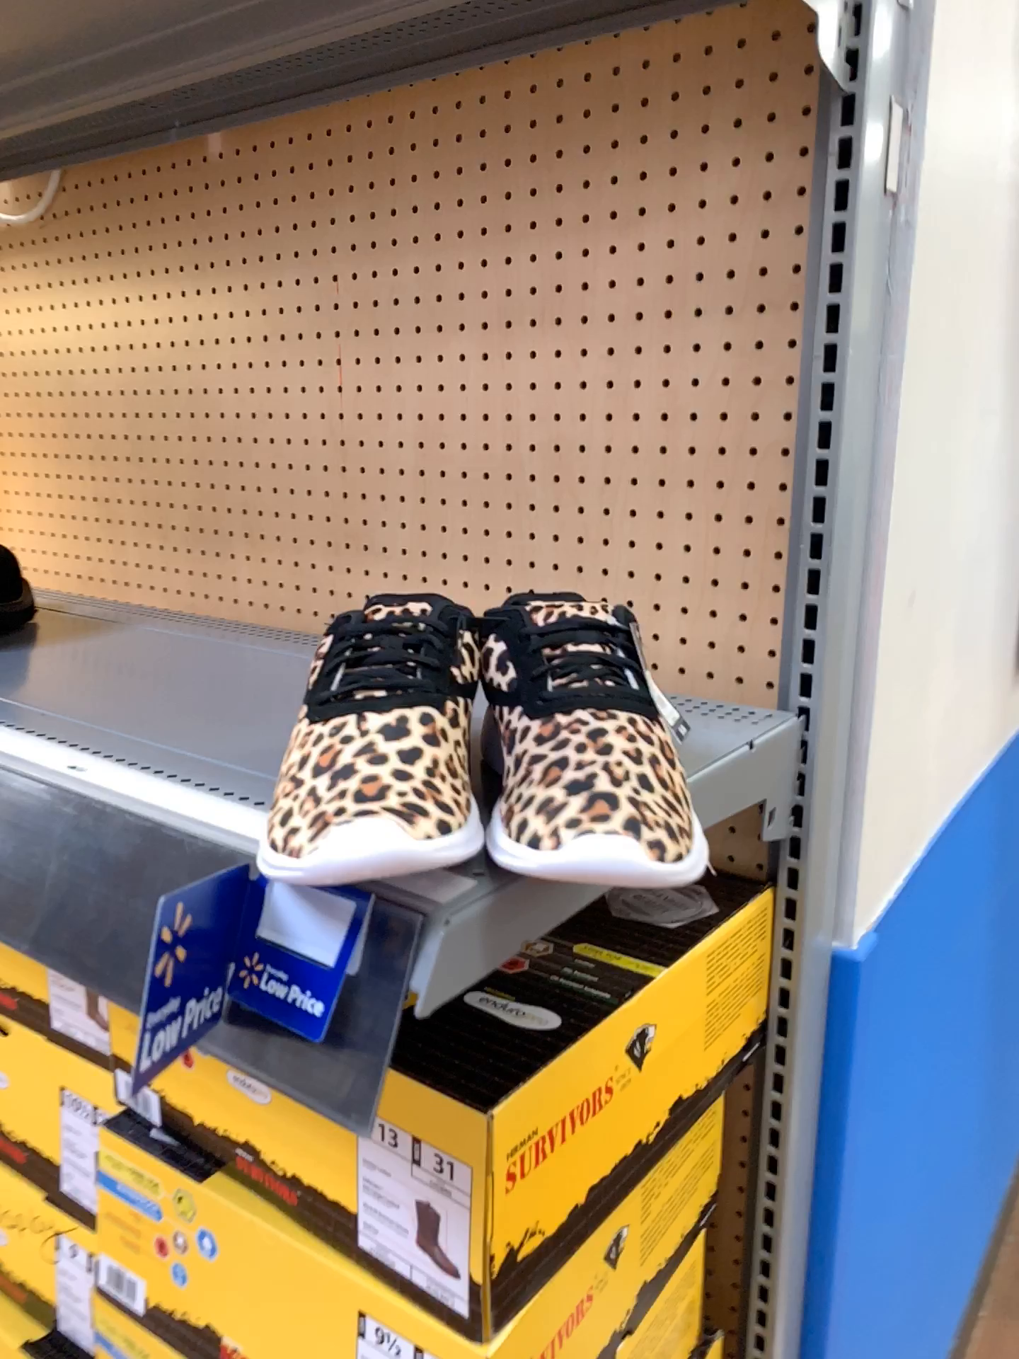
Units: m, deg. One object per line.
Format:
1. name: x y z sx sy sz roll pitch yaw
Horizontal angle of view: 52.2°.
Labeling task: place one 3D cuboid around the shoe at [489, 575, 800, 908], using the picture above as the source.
1. shoe: 0.048 0.013 0.512 0.110 0.091 0.241 -1 15 -2

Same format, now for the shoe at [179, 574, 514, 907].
1. shoe: -0.060 0.013 0.511 0.119 0.091 0.241 0 15 1
